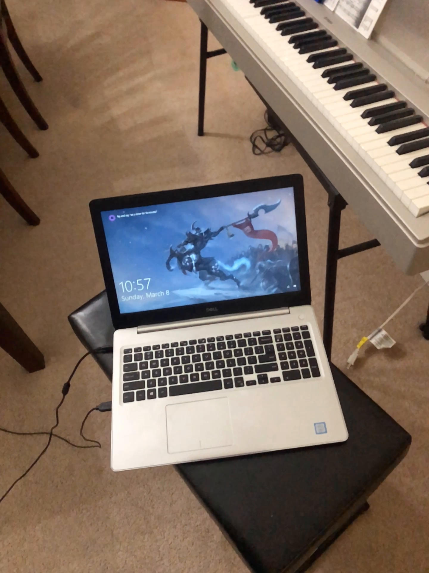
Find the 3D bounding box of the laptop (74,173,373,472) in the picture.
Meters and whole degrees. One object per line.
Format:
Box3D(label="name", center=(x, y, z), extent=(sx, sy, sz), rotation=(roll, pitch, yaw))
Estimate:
Box3D(label="laptop", center=(-0.003, 0.046, 0.777), extent=(0.374, 0.183, 0.410), rotation=(-8, 55, 0))
